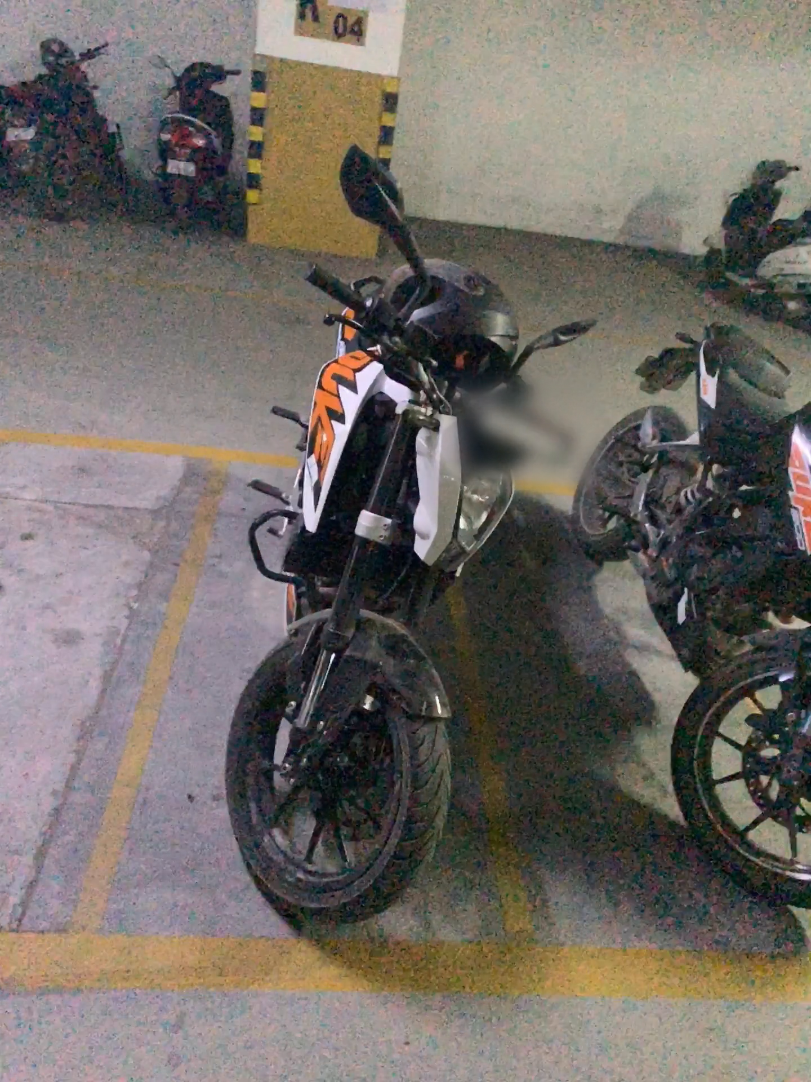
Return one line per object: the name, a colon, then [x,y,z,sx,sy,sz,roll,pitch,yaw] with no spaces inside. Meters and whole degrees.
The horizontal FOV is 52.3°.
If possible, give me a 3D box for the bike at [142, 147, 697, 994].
bike: [-0.101,-0.135,2.230,0.802,1.181,1.923,5,35,-8]
